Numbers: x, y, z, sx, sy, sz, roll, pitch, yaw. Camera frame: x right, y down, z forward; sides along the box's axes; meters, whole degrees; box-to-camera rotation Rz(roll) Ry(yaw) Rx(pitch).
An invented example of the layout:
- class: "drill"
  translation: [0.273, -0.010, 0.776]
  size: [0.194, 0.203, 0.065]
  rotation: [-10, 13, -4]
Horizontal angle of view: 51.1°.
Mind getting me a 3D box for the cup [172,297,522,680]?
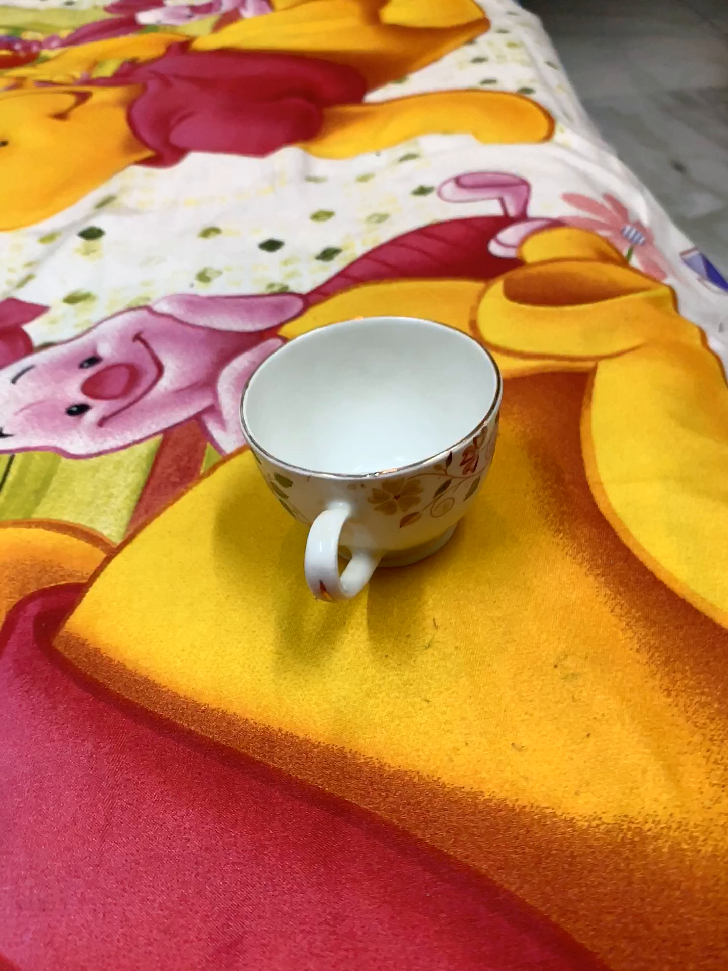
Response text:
- class: "cup"
  translation: [0.004, -0.005, 0.237]
  size: [0.080, 0.060, 0.101]
  rotation: [4, 47, 13]
